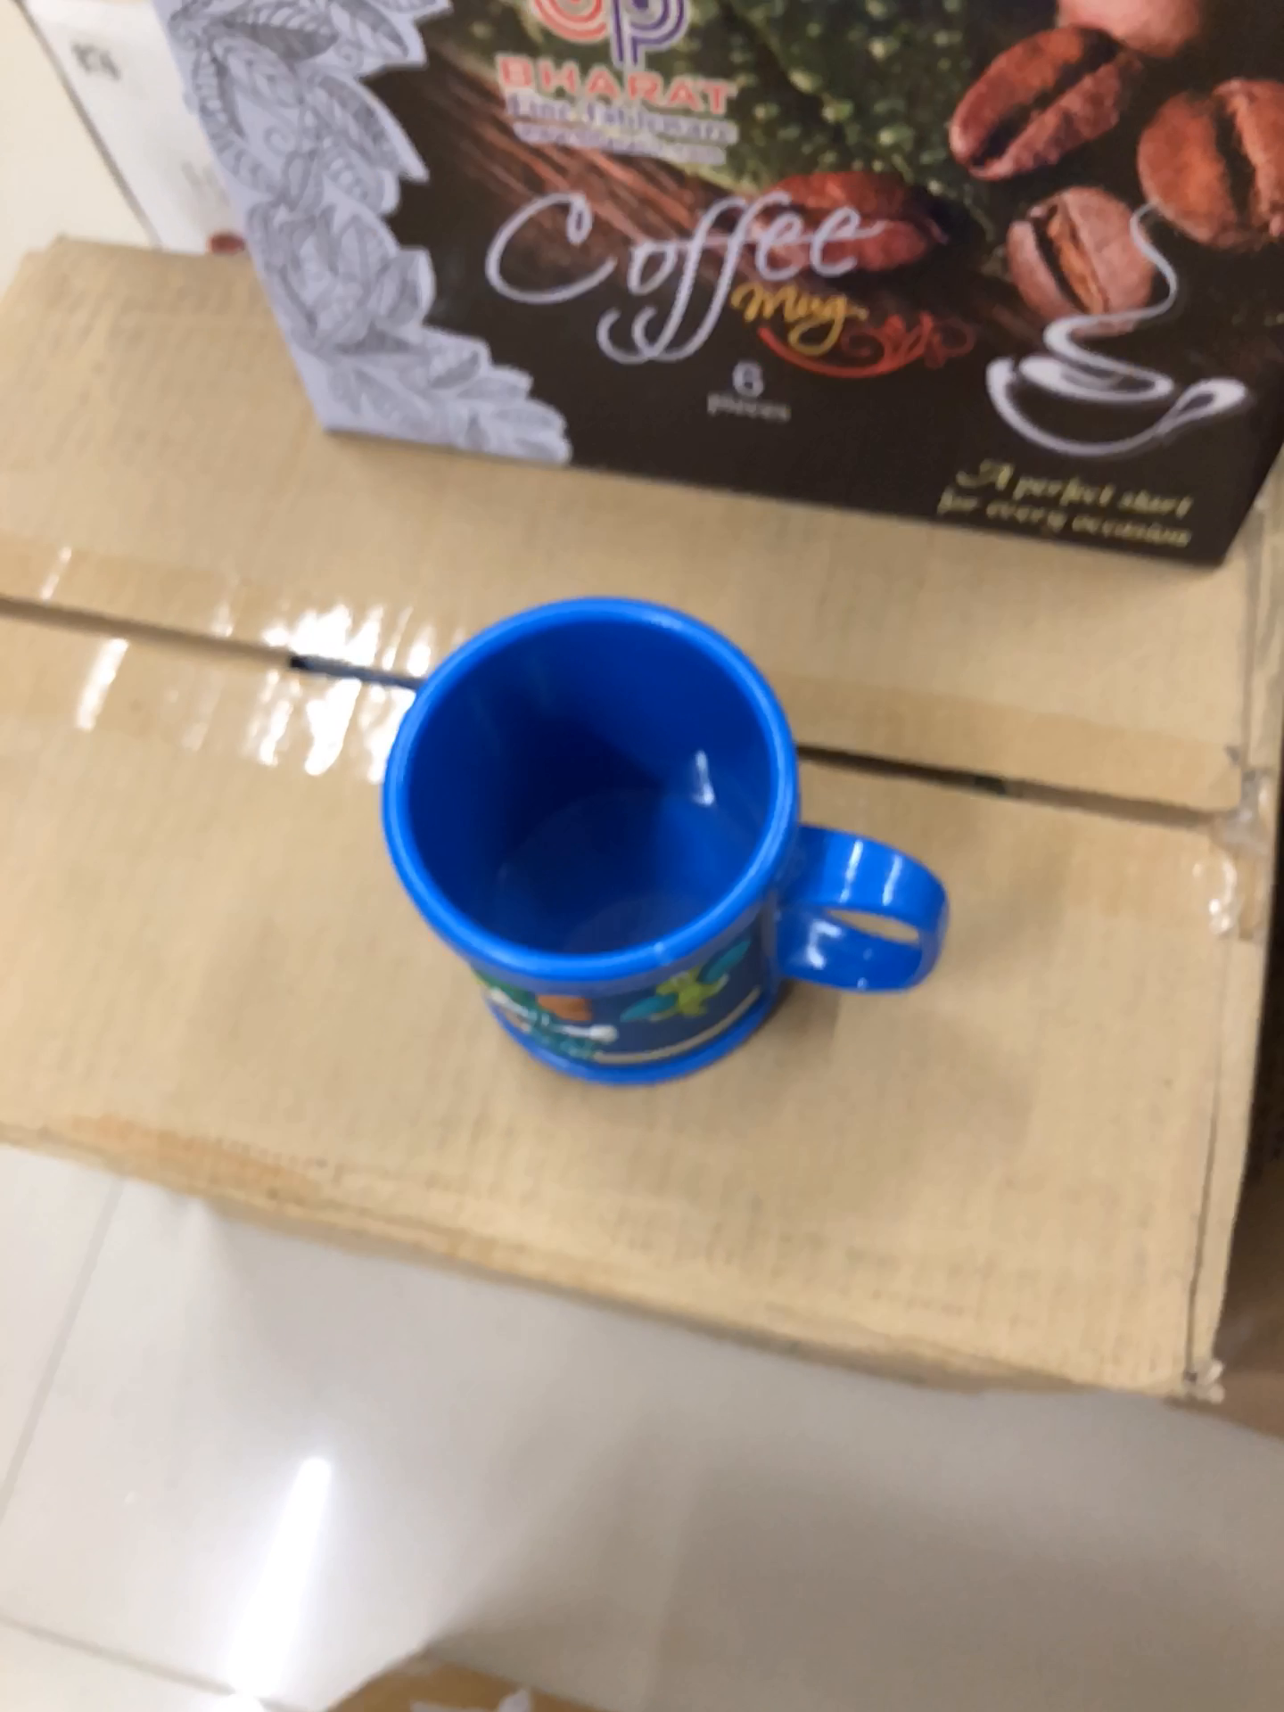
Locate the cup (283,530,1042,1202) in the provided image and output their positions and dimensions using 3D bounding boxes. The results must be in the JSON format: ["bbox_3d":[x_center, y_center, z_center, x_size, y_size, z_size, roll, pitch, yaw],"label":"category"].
[{"bbox_3d":[0.009,0.006,0.313,0.120,0.090,0.090,17,72,11],"label":"cup"}]
